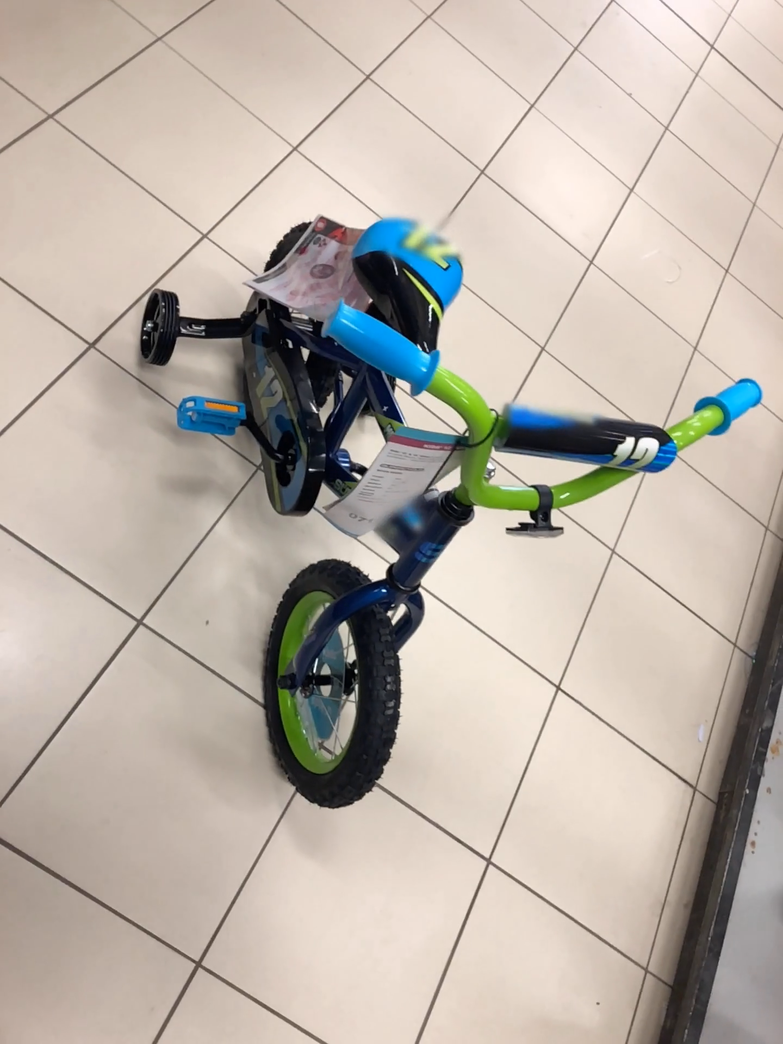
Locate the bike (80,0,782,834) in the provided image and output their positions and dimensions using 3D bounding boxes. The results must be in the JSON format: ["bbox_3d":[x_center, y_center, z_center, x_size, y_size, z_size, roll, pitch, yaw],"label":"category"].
[{"bbox_3d":[-0.014,-0.121,0.985,0.549,0.676,0.795,3,67,-26],"label":"bike"}]
